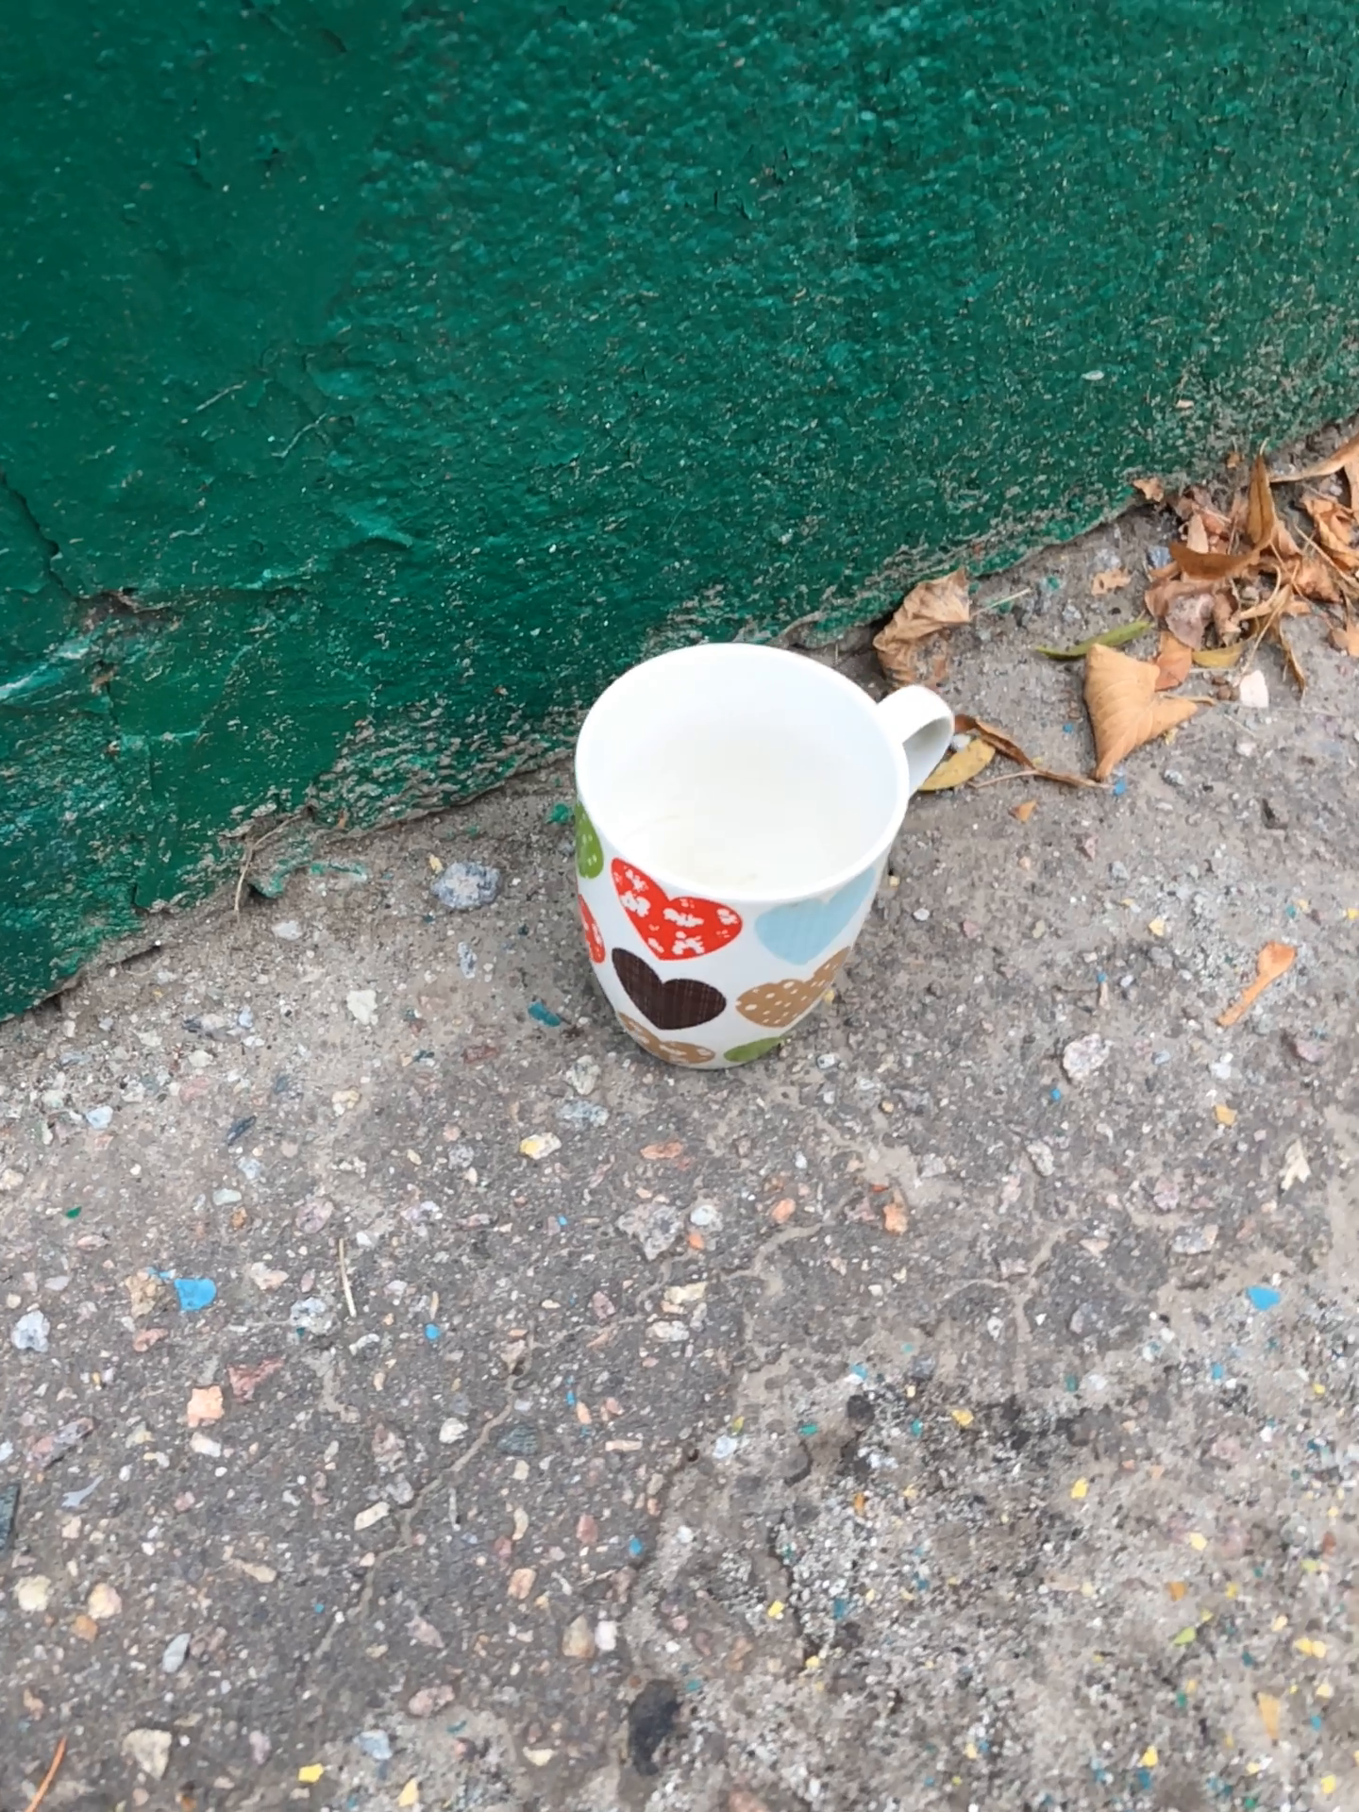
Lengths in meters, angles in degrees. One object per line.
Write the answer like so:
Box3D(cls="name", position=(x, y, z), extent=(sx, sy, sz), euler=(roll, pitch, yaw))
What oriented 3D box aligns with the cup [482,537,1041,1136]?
Box3D(cls="cup", position=(0.019, -0.021, 0.395), extent=(0.082, 0.079, 0.116), euler=(36, 55, 20))
